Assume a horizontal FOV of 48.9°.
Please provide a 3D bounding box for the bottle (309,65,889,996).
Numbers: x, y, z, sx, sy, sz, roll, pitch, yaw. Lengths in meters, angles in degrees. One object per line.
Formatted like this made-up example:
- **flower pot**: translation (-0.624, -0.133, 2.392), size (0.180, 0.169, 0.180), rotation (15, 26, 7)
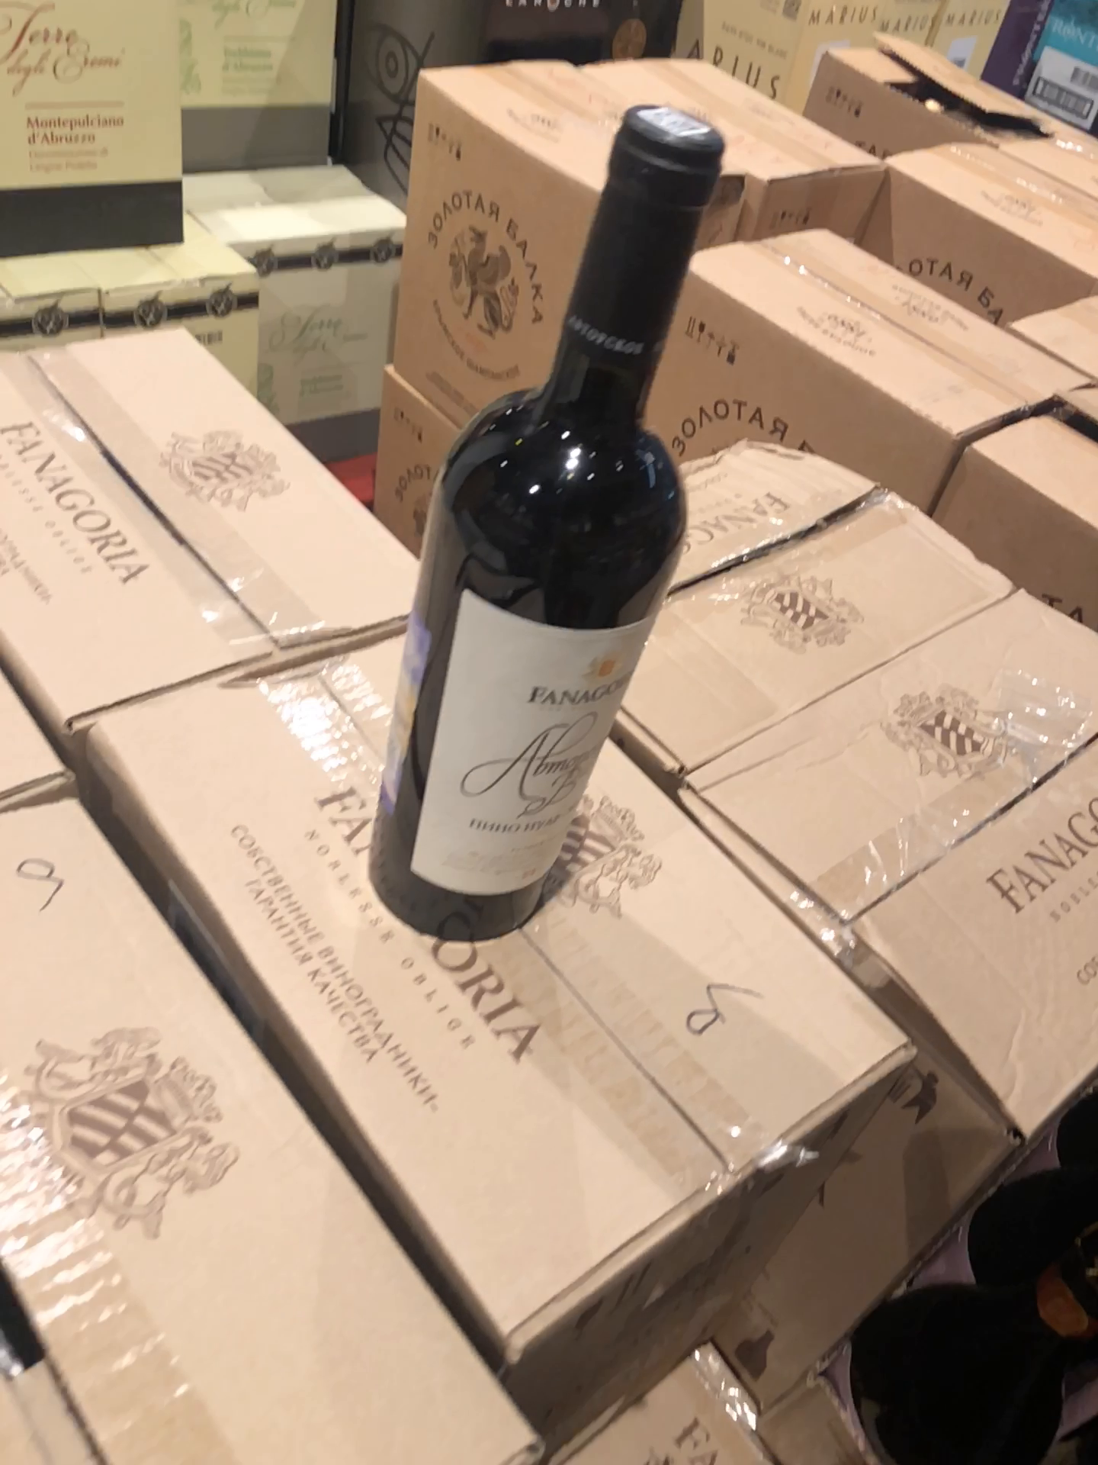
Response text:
- **bottle**: translation (-0.007, -0.049, 0.423), size (0.100, 0.308, 0.090), rotation (-17, 52, -32)
